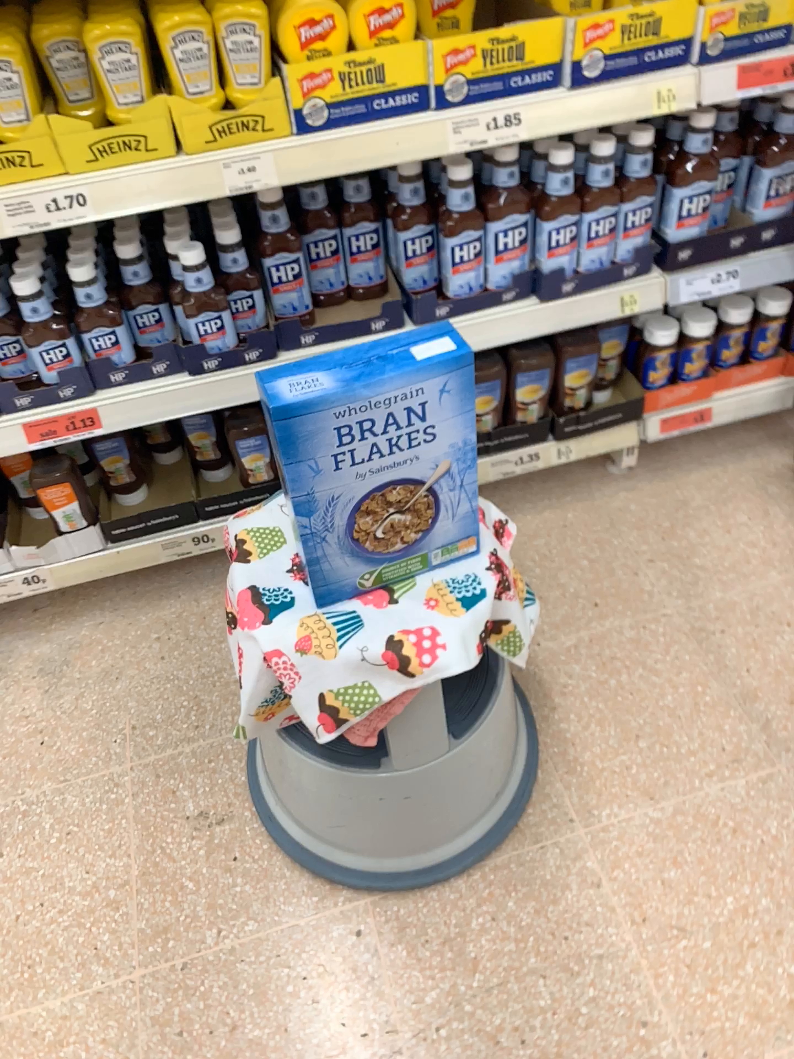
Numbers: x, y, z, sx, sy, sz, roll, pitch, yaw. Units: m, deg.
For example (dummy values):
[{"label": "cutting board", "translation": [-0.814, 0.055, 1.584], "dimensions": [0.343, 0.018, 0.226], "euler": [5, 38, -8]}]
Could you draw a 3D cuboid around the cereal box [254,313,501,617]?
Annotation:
[{"label": "cereal box", "translation": [-0.007, -0.059, 0.828], "dimensions": [0.210, 0.258, 0.081], "euler": [-18, 43, -12]}]
